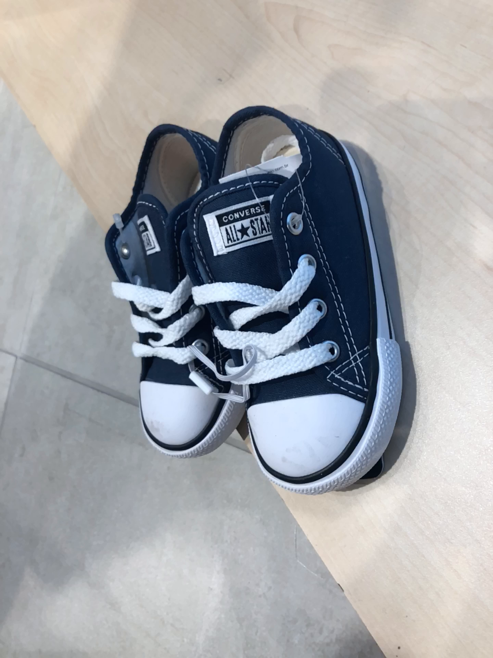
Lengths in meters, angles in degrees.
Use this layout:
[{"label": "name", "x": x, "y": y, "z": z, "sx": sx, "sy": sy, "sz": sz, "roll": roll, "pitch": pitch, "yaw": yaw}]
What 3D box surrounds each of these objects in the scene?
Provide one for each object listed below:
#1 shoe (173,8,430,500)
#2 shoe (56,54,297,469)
[{"label": "shoe", "x": 0.019, "y": -0.023, "z": 0.231, "sx": 0.080, "sy": 0.060, "sz": 0.170, "roll": -10, "pitch": 77, "yaw": 38}, {"label": "shoe", "x": -0.034, "y": -0.027, "z": 0.270, "sx": 0.080, "sy": 0.060, "sz": 0.170, "roll": 3, "pitch": 85, "yaw": 39}]
